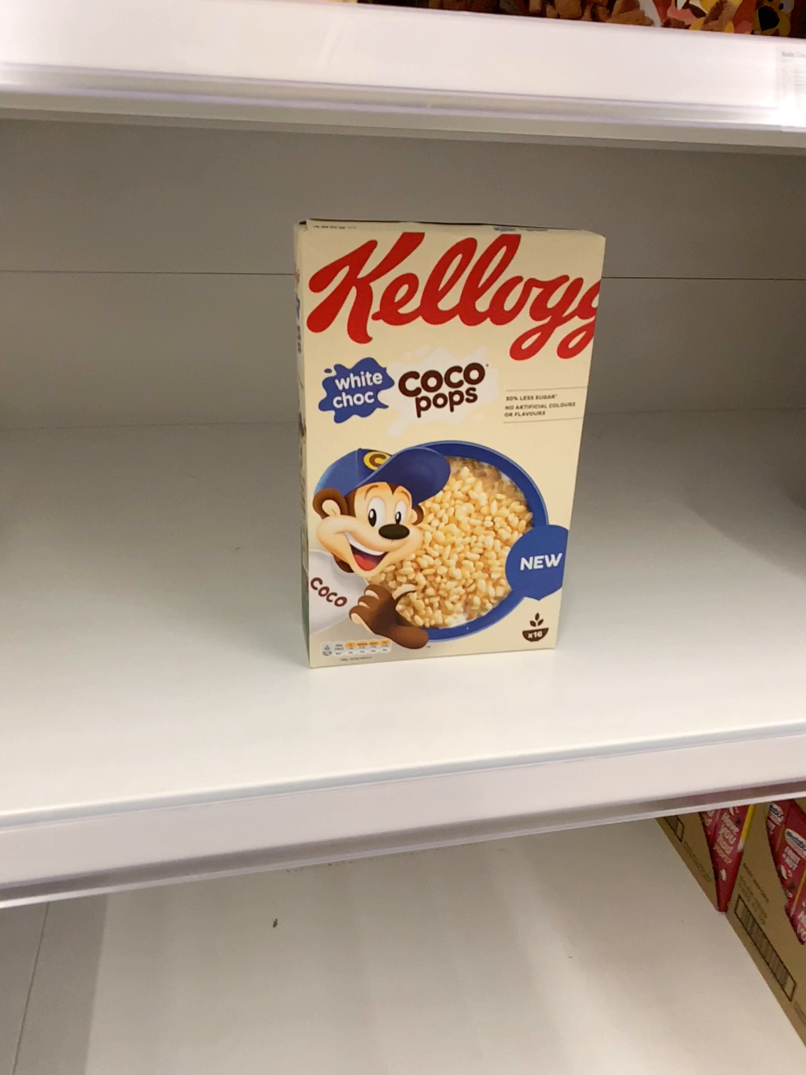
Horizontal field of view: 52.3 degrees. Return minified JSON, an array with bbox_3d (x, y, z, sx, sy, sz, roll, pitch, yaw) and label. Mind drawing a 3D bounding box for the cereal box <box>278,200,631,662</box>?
[{"bbox_3d":[0.027,-0.071,0.570,0.210,0.298,0.071,-4,22,-11],"label":"cereal box"}]
